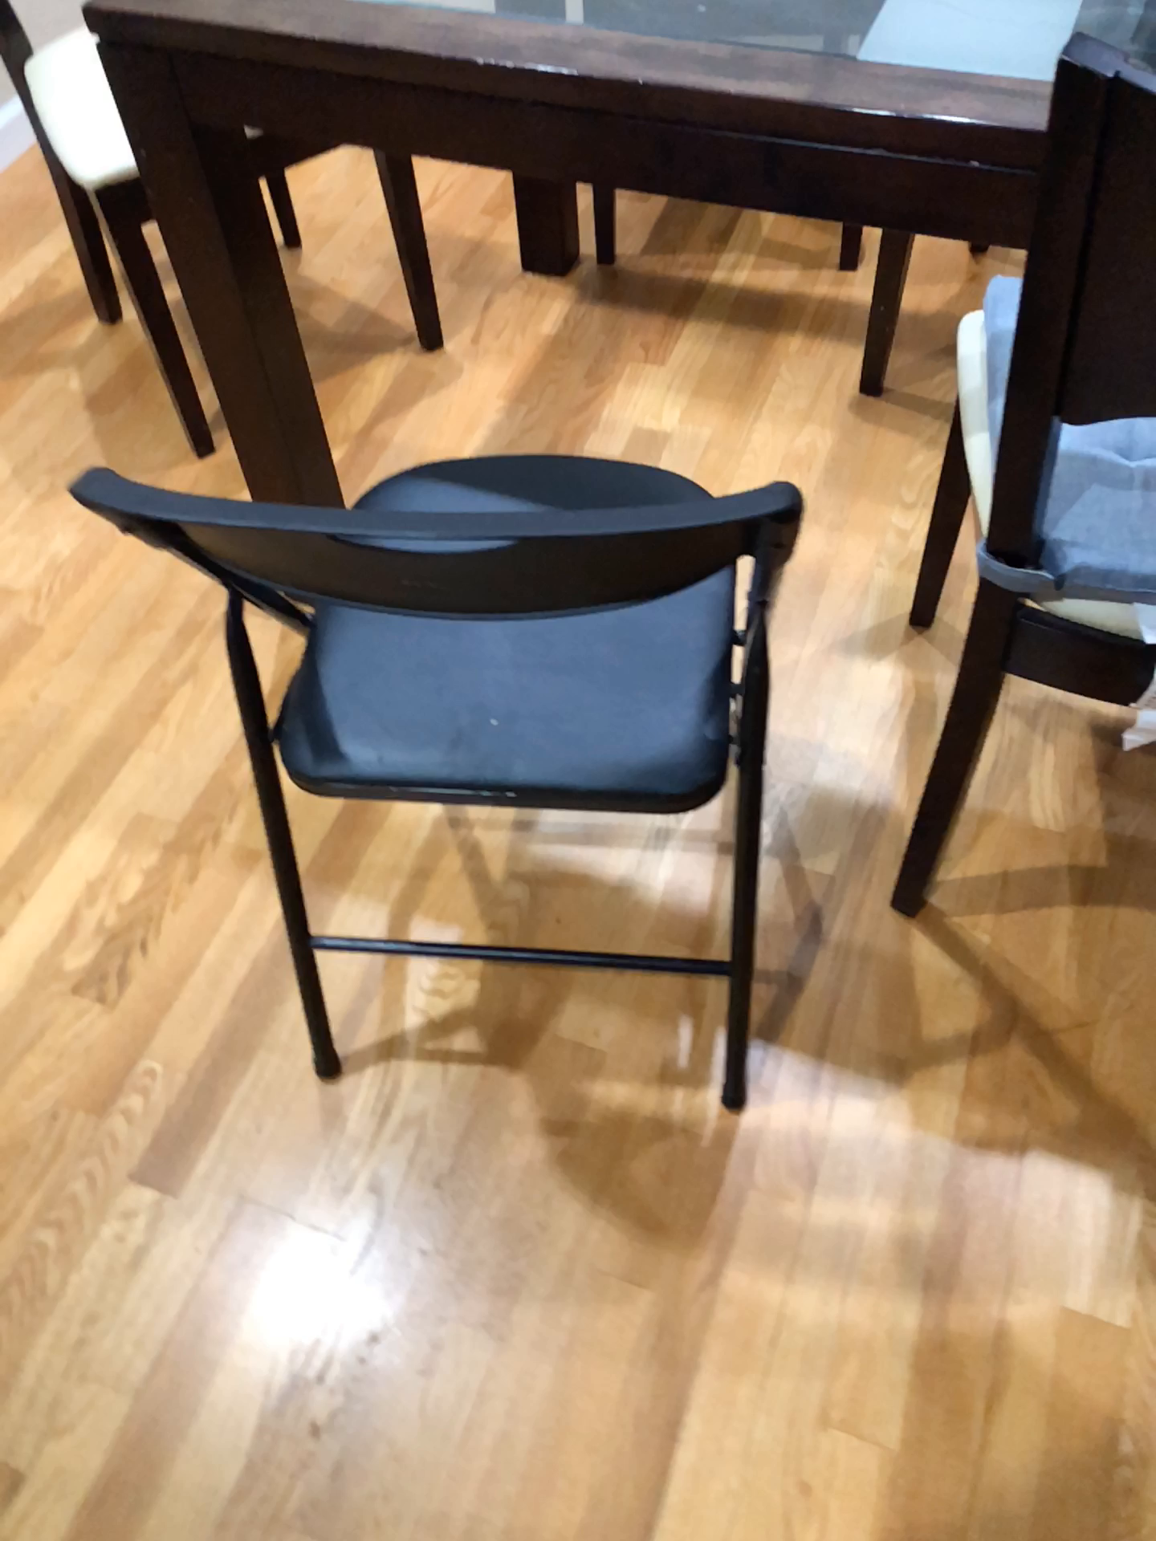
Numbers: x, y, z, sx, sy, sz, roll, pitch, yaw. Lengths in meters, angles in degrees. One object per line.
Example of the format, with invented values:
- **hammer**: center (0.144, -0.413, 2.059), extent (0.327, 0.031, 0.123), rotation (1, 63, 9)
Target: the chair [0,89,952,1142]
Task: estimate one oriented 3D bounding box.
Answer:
- **chair**: center (-0.025, -0.093, 1.067), extent (0.520, 0.697, 0.522), rotation (4, 53, 7)
